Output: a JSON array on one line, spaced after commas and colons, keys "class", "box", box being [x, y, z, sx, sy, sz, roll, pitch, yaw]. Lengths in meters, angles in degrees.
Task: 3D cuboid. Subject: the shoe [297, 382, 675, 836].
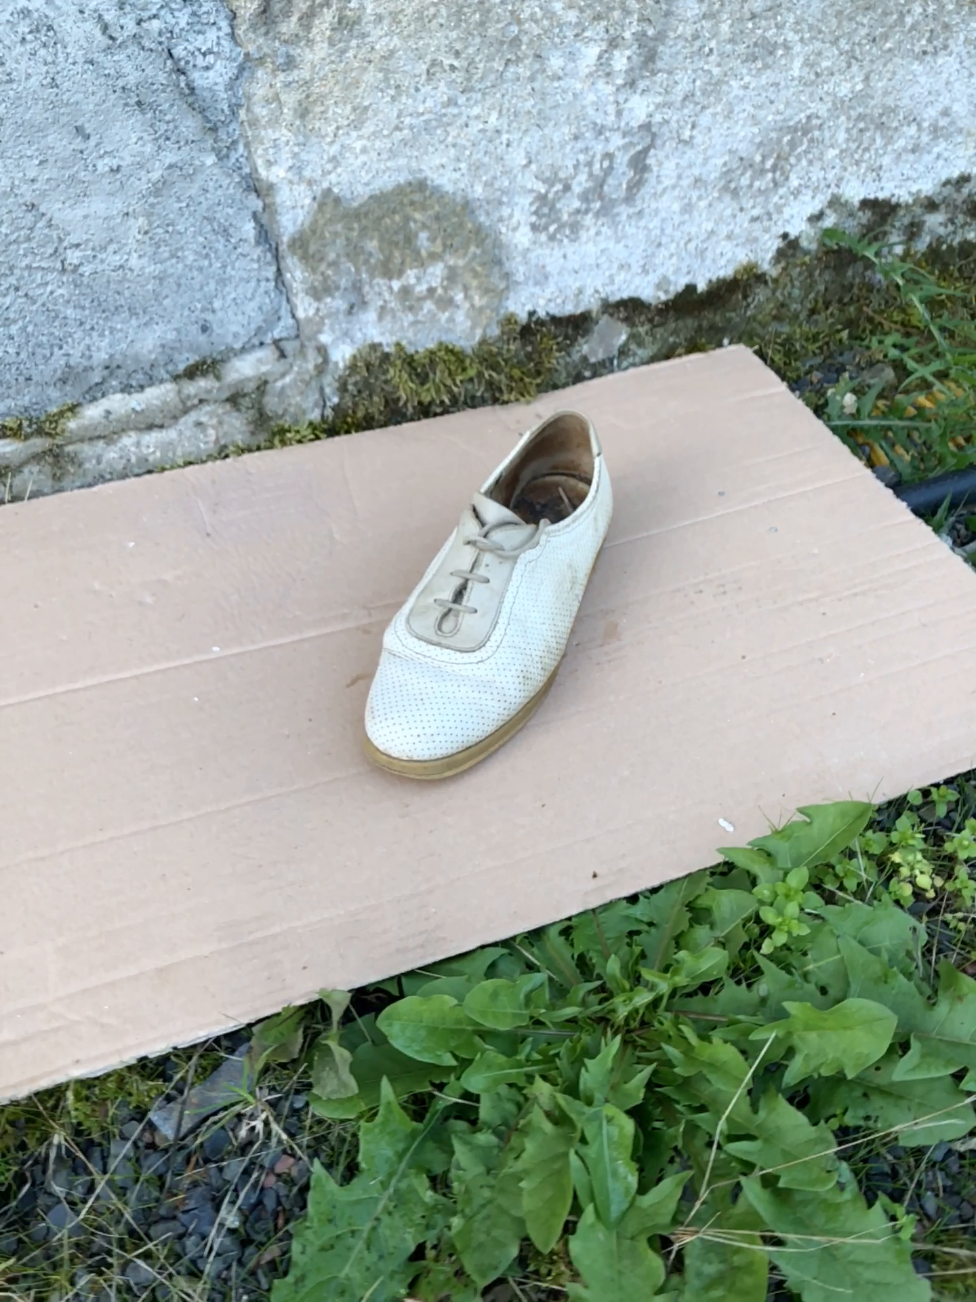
[{"class": "shoe", "box": [0.014, -0.037, 0.605, 0.090, 0.090, 0.261, 16, 50, 25]}]
